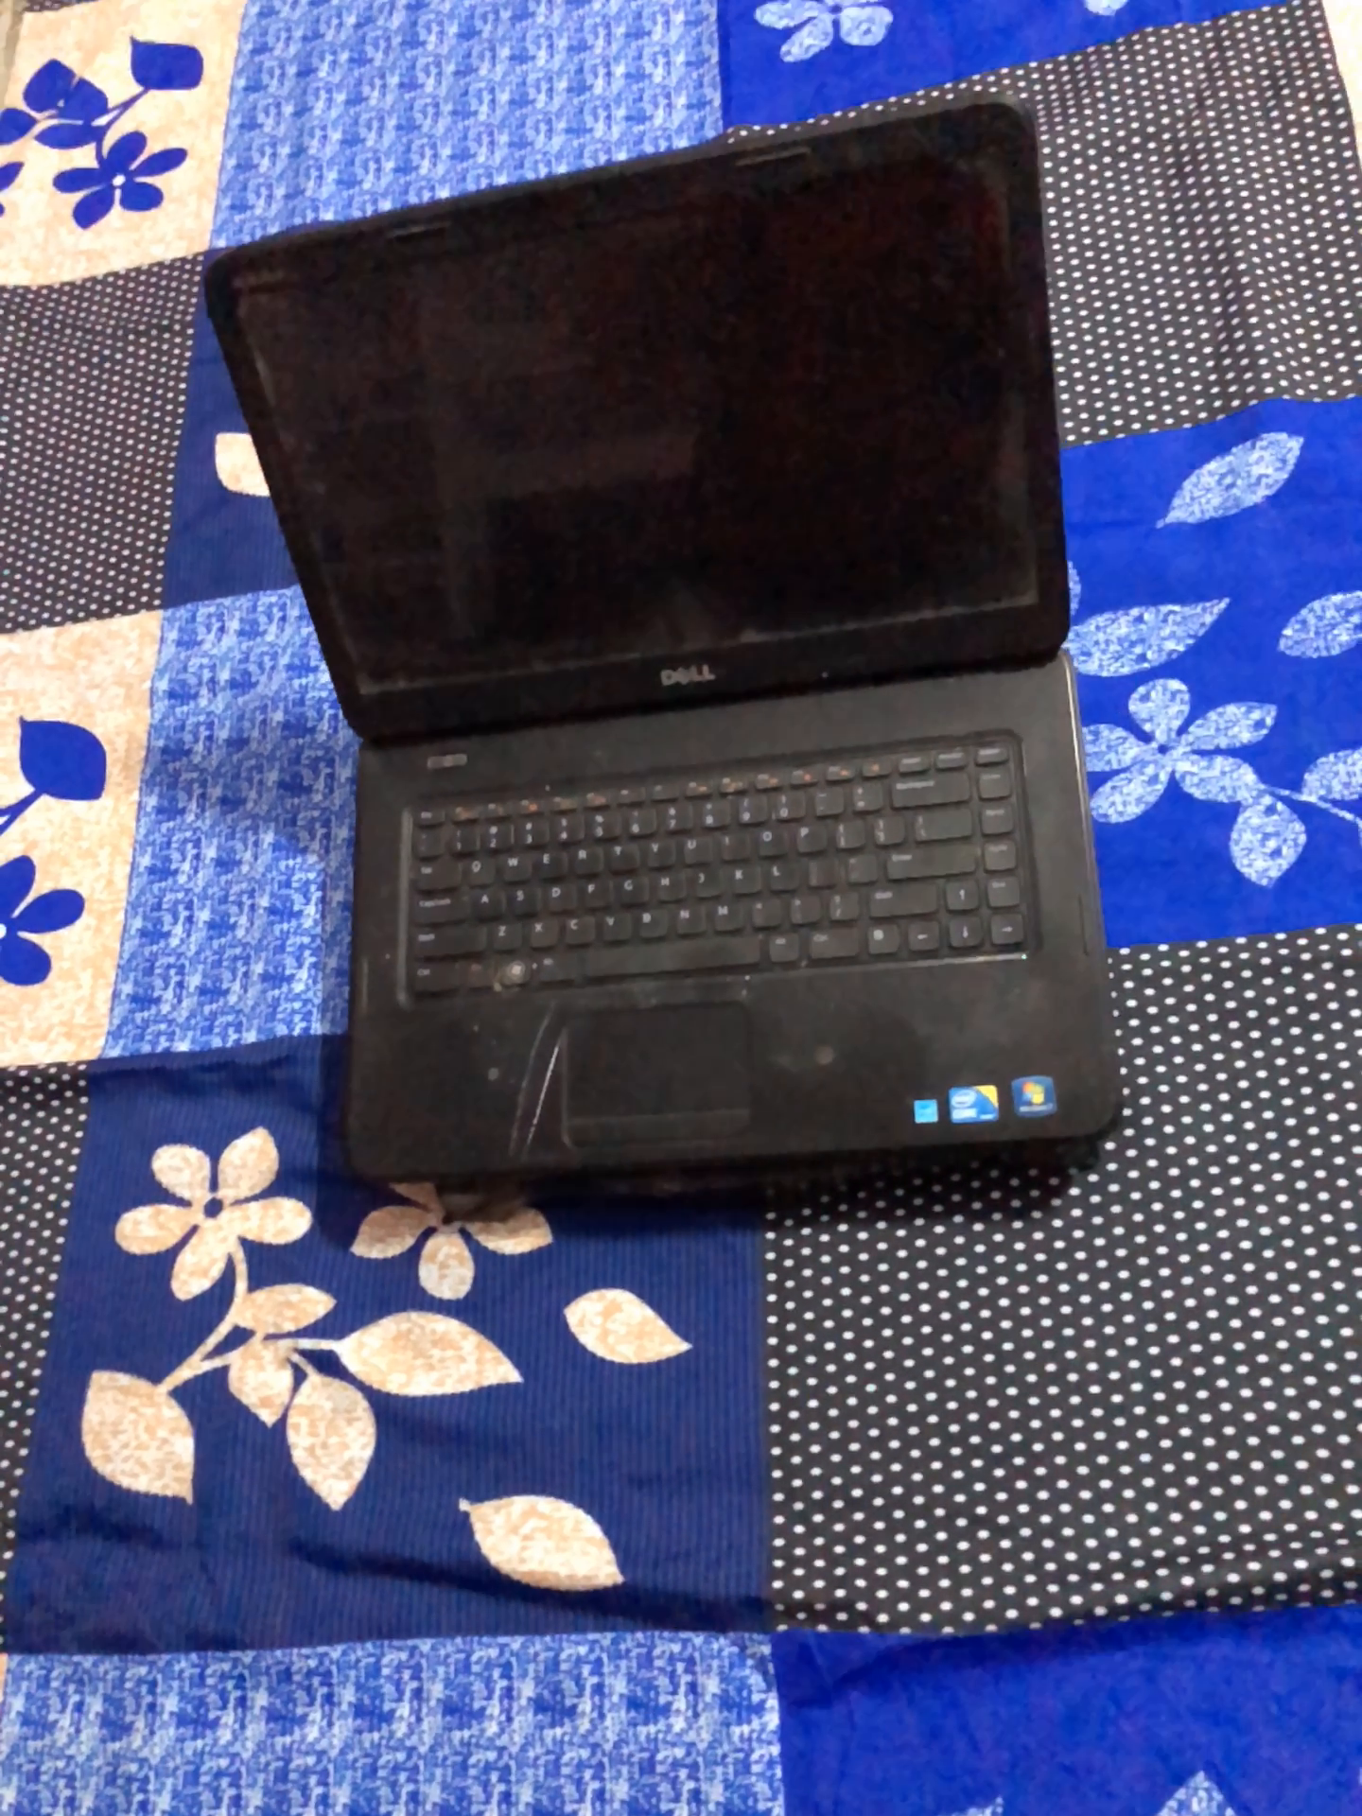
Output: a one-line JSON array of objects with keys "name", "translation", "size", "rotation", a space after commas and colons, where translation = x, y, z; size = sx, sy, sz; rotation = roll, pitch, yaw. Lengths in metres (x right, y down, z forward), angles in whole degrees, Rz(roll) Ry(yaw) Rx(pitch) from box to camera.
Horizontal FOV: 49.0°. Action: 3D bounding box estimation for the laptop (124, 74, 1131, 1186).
[{"name": "laptop", "translation": [-0.012, -0.105, 0.670], "size": [0.363, 0.187, 0.389], "rotation": [-6, 70, 11]}]
